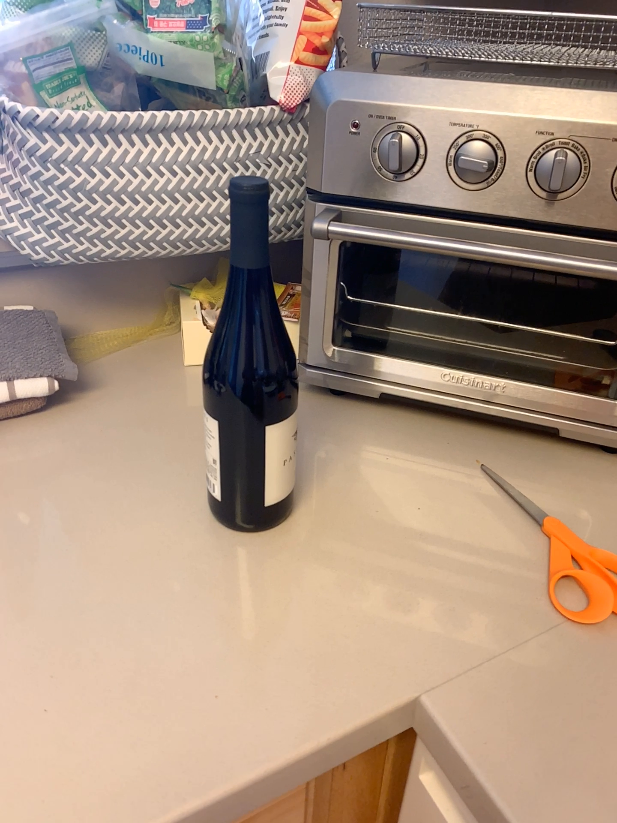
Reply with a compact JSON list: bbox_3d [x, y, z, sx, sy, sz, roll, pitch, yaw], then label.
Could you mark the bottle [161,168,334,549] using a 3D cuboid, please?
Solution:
[{"bbox_3d":[-0.043,-0.034,0.502,0.090,0.278,0.090,2,32,-1],"label":"bottle"}]
